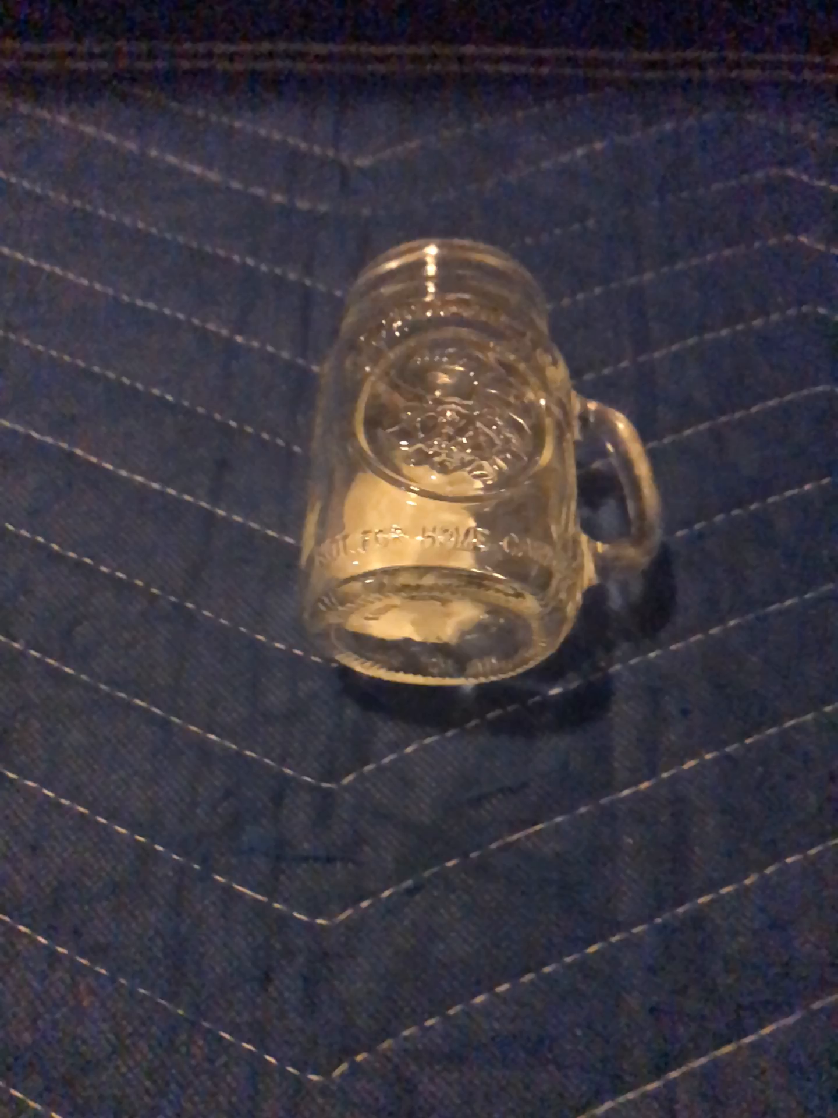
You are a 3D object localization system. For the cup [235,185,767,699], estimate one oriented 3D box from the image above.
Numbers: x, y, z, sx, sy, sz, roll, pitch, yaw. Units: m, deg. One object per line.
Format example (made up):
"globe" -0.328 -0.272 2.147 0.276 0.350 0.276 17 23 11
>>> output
"cup" 0.014 -0.024 0.196 0.088 0.043 0.096 -1 66 2
